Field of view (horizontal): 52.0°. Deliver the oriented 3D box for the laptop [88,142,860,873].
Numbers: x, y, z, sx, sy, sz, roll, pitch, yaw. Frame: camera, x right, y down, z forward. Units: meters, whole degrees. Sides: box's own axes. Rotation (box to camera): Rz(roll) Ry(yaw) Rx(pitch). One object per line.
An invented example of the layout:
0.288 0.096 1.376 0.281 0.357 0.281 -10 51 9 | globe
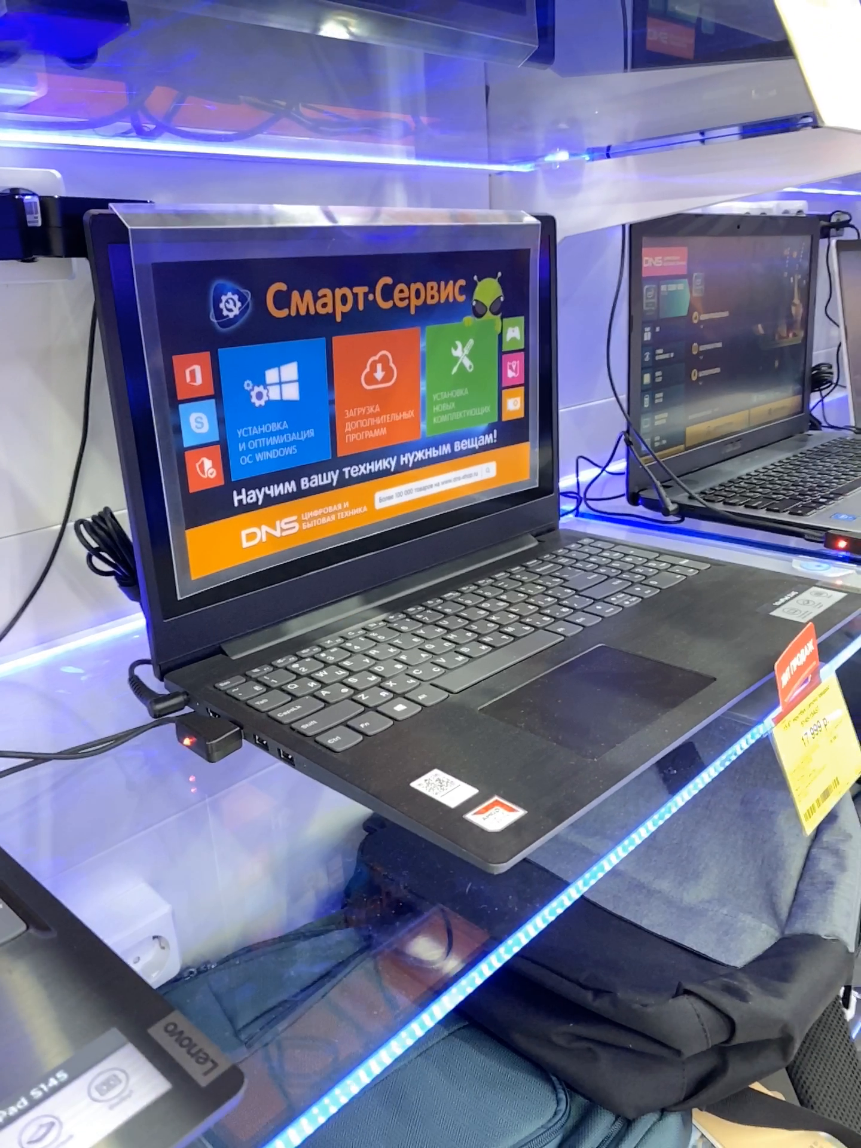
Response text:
0.060 -0.077 0.488 0.362 0.239 0.258 -19 25 -41 | laptop
